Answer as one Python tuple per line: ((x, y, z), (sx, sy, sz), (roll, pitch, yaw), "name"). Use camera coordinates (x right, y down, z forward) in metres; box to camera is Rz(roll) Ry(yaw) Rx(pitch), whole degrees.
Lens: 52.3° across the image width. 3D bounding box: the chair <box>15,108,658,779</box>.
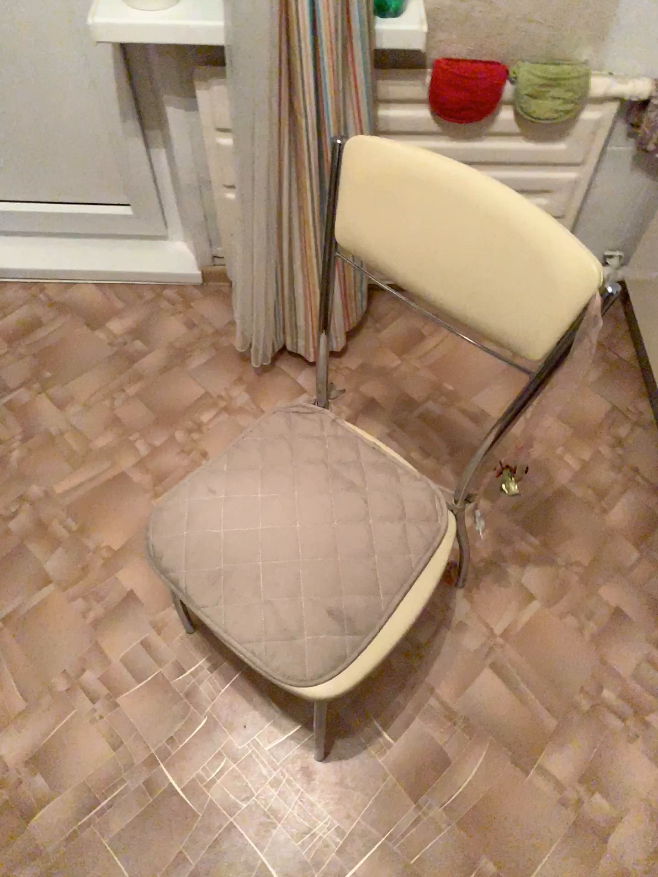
((0.026, 0.104, 0.977), (0.385, 0.855, 0.492), (37, 64, 20), "chair")
